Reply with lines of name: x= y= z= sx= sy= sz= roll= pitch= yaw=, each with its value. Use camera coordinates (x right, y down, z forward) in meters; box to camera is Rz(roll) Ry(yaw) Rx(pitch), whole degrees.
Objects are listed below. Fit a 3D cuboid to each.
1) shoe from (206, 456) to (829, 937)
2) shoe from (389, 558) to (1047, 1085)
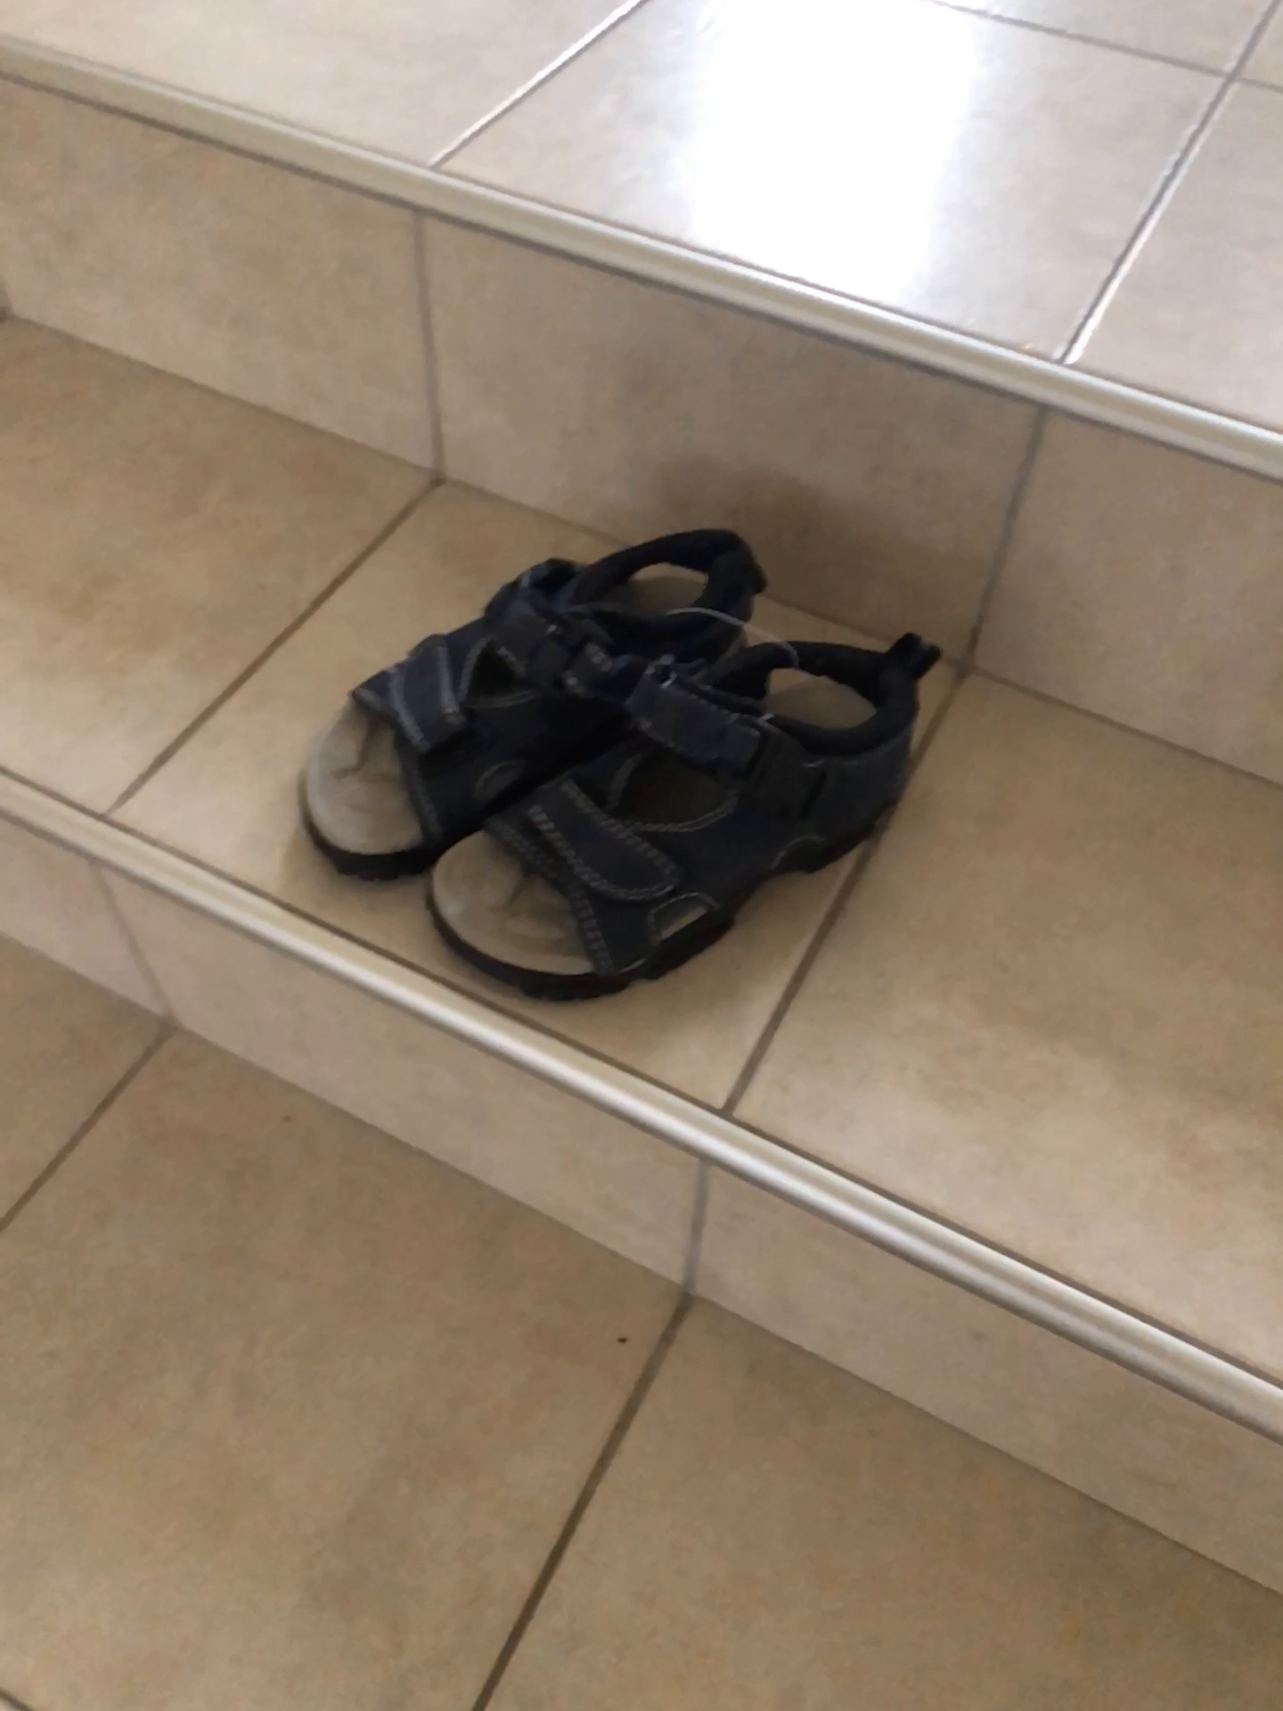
shoe: x=-0.049 y=-0.073 z=0.604 sx=0.231 sy=0.090 sz=0.100 roll=-24 pitch=57 yaw=-20
shoe: x=0.030 y=-0.019 z=0.566 sx=0.231 sy=0.090 sz=0.100 roll=-24 pitch=57 yaw=-20
